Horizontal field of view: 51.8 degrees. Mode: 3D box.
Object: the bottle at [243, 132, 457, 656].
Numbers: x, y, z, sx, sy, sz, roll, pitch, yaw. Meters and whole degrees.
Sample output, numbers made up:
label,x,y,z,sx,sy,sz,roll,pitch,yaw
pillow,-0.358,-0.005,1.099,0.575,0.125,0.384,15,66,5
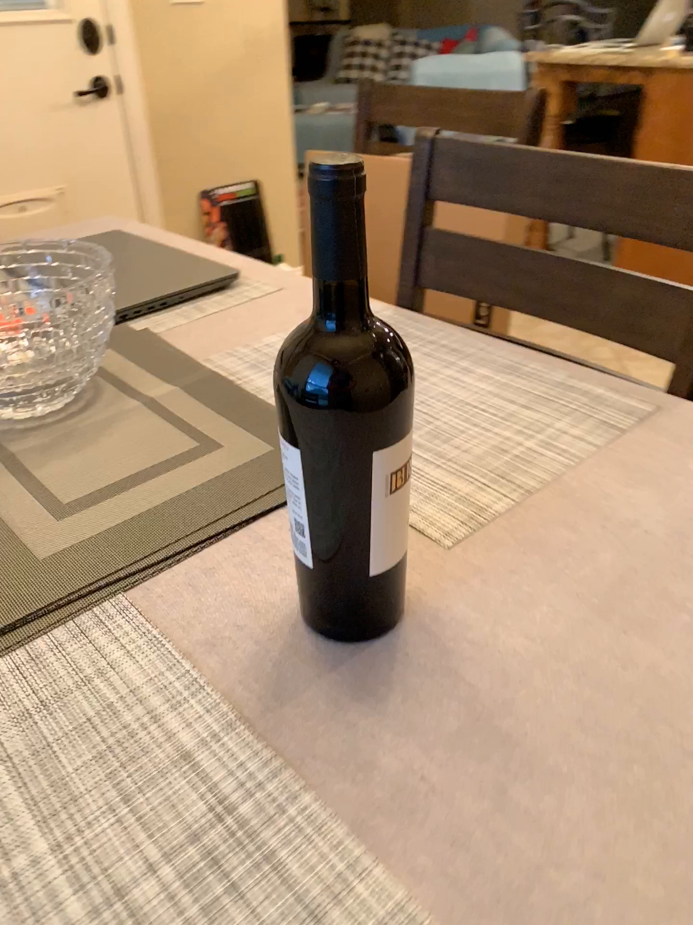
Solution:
label,x,y,z,sx,sy,sz,roll,pitch,yaw
bottle,0.002,-0.027,0.429,0.090,0.298,0.084,-1,32,1
